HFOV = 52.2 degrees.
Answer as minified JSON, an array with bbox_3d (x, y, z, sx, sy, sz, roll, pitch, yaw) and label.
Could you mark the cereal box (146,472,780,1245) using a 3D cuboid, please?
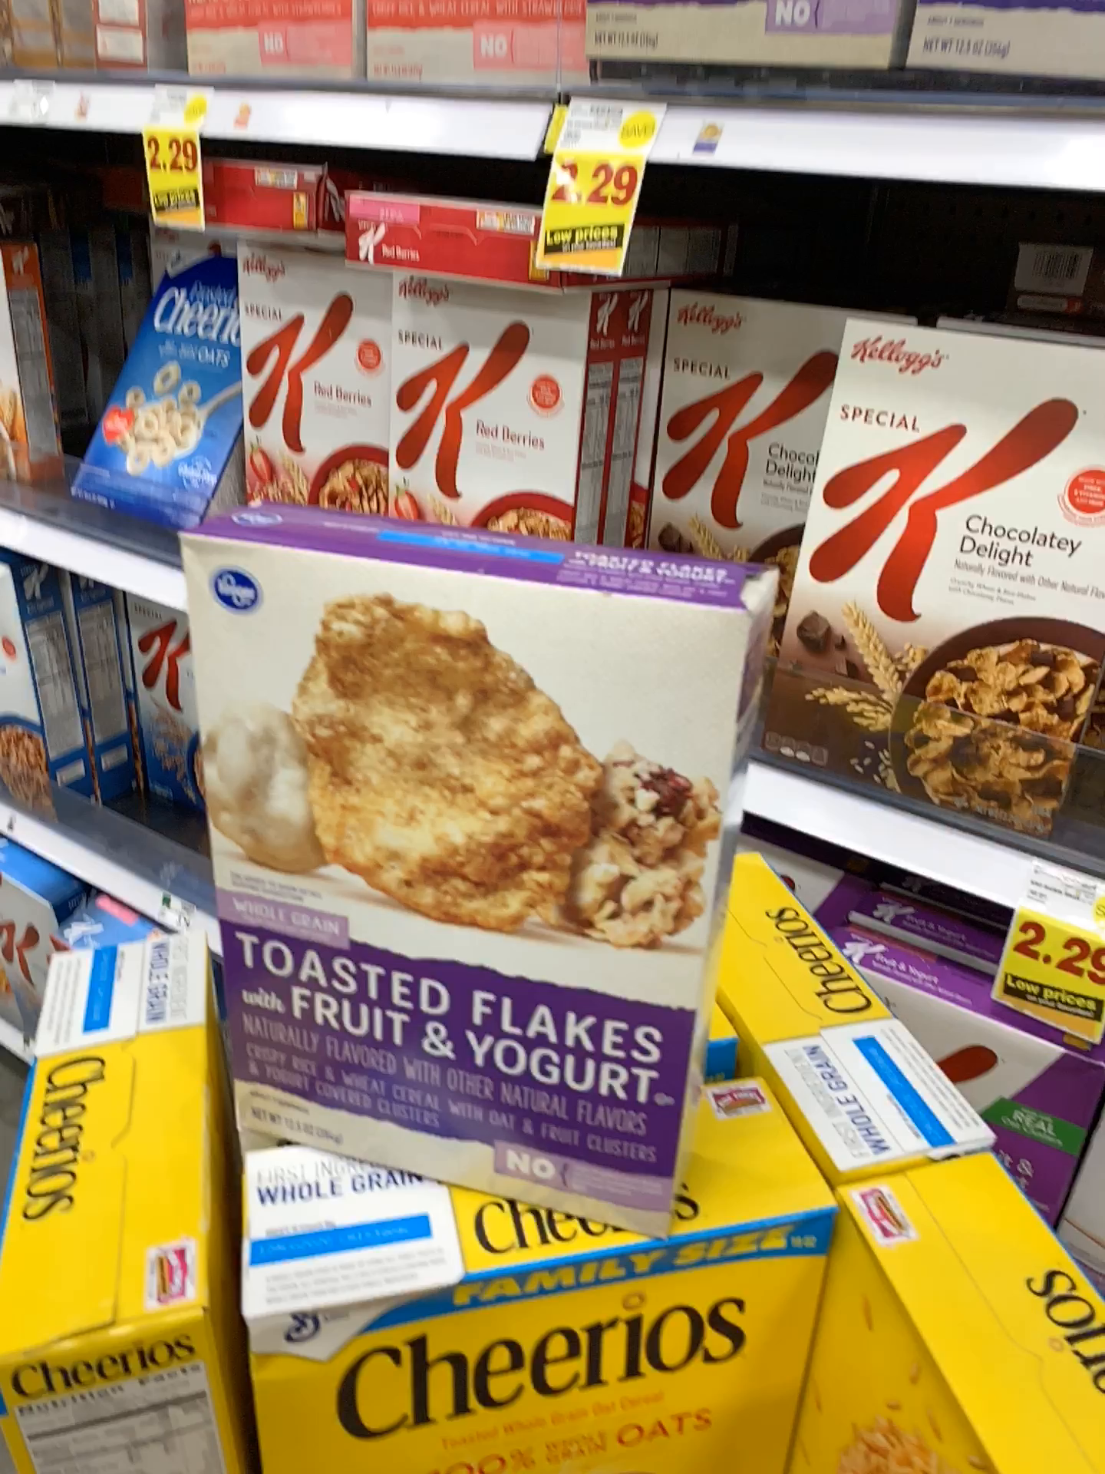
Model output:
[{"bbox_3d":[-0.036,0.051,0.433,0.200,0.269,0.060,10,28,12],"label":"cereal box"}]
